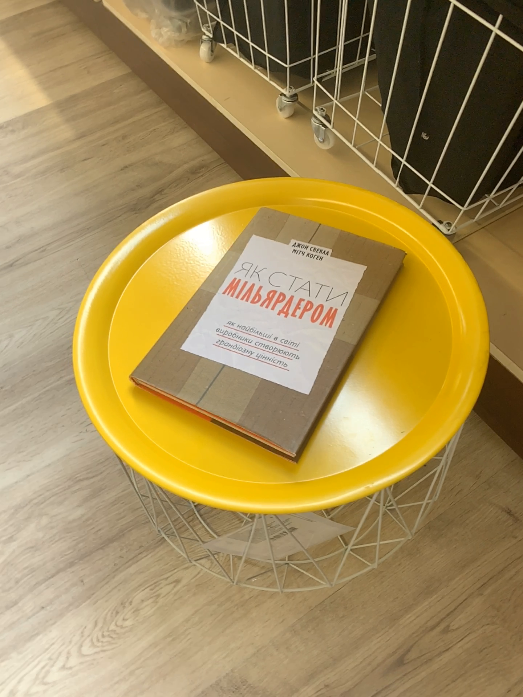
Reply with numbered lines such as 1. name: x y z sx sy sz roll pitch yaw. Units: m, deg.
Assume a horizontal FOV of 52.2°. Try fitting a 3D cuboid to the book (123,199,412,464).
1. book: 0.013 -0.034 0.488 0.170 0.020 0.236 22 60 19
